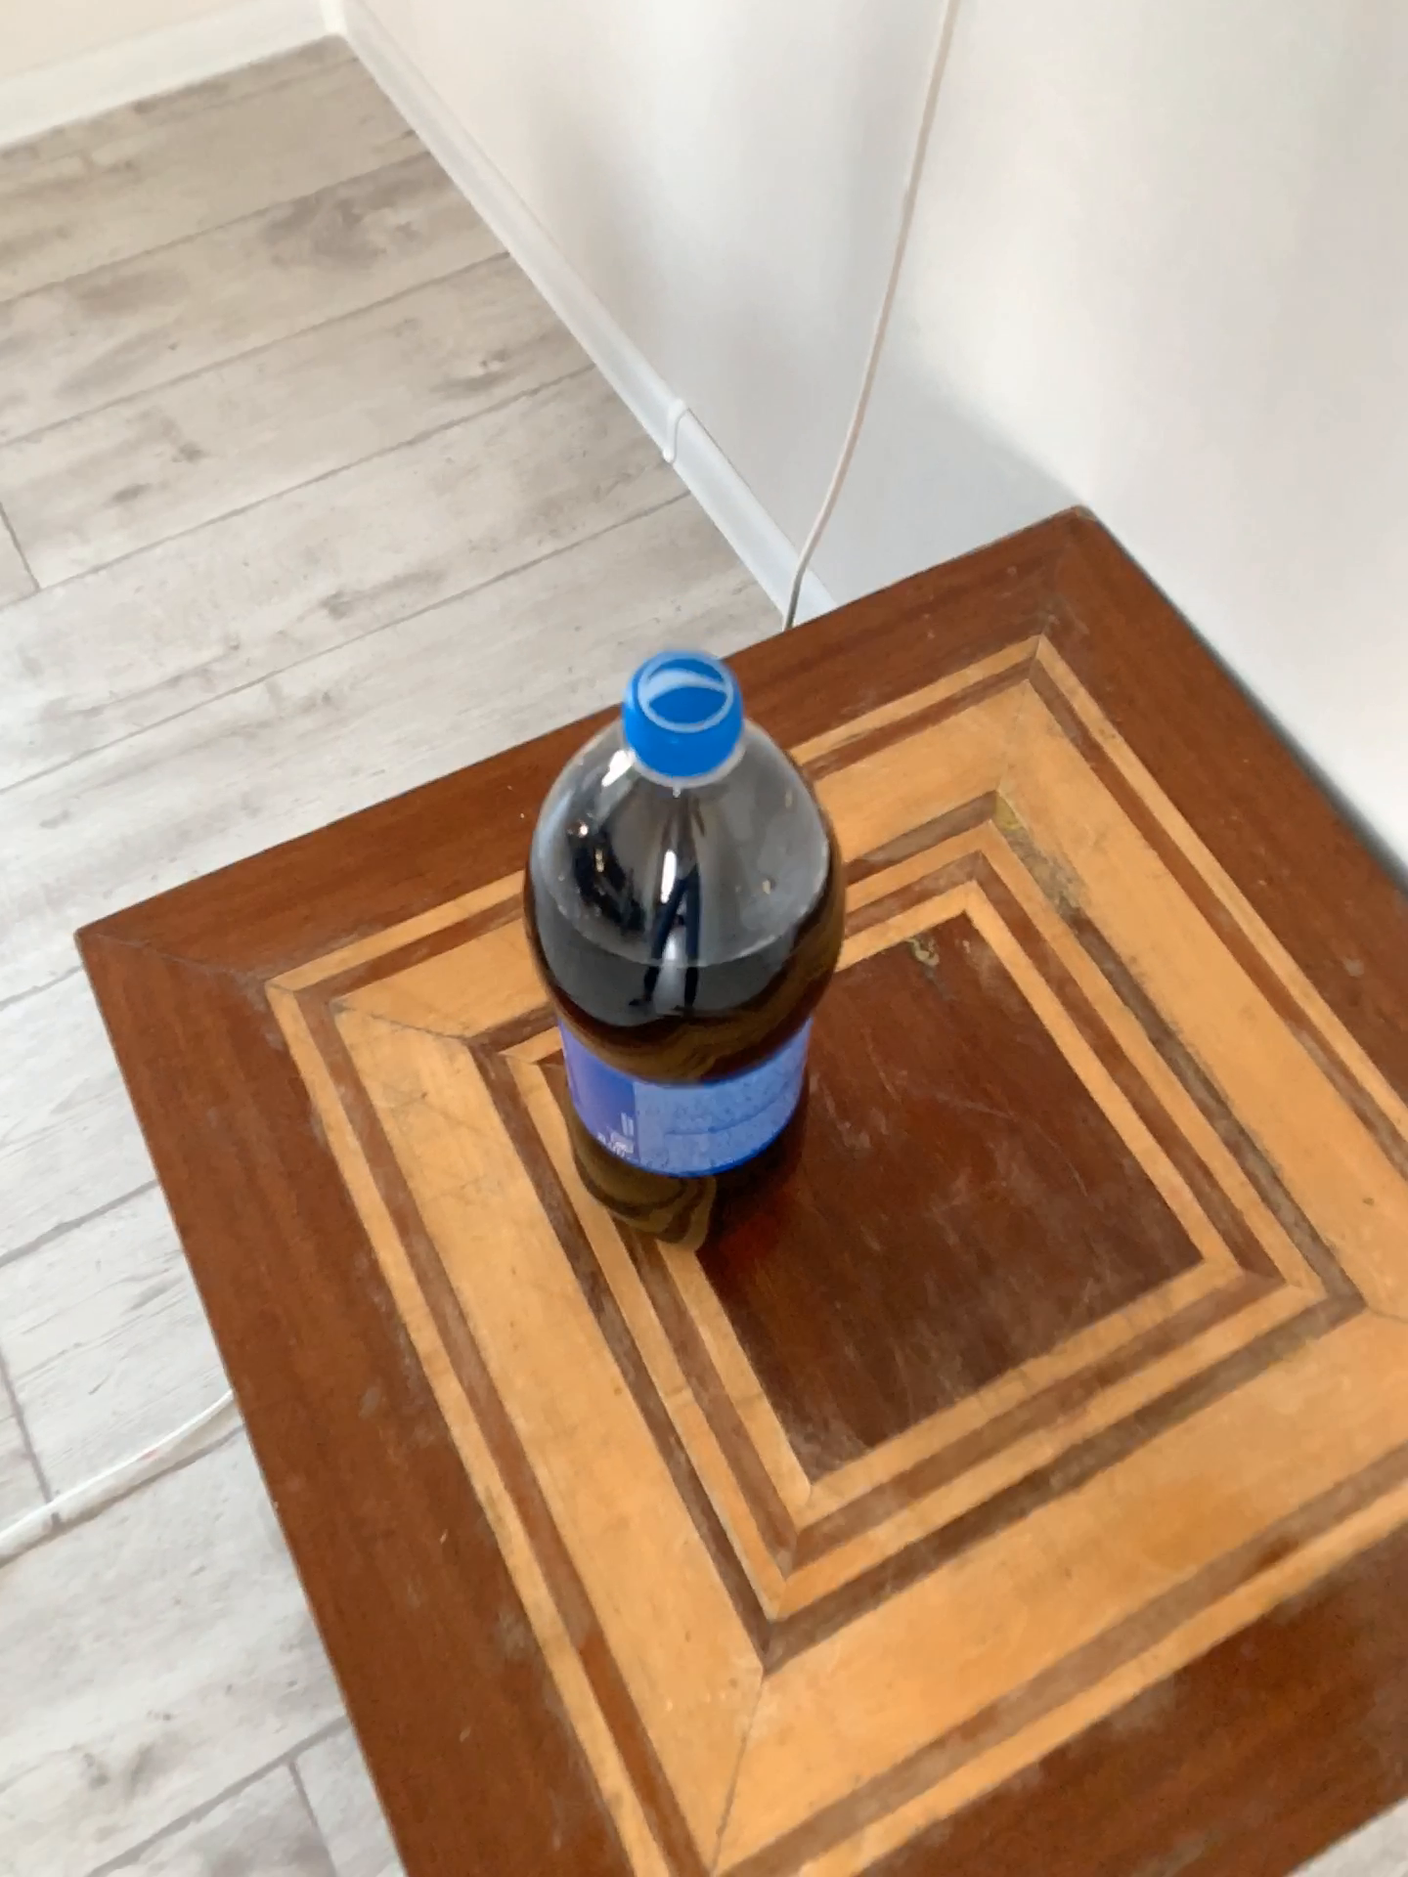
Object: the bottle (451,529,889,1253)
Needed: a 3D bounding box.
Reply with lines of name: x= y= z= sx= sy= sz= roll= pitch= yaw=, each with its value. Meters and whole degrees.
bottle: x=-0.007 y=0.016 z=0.501 sx=0.100 sy=0.339 sz=0.100 roll=0 pitch=63 yaw=0
